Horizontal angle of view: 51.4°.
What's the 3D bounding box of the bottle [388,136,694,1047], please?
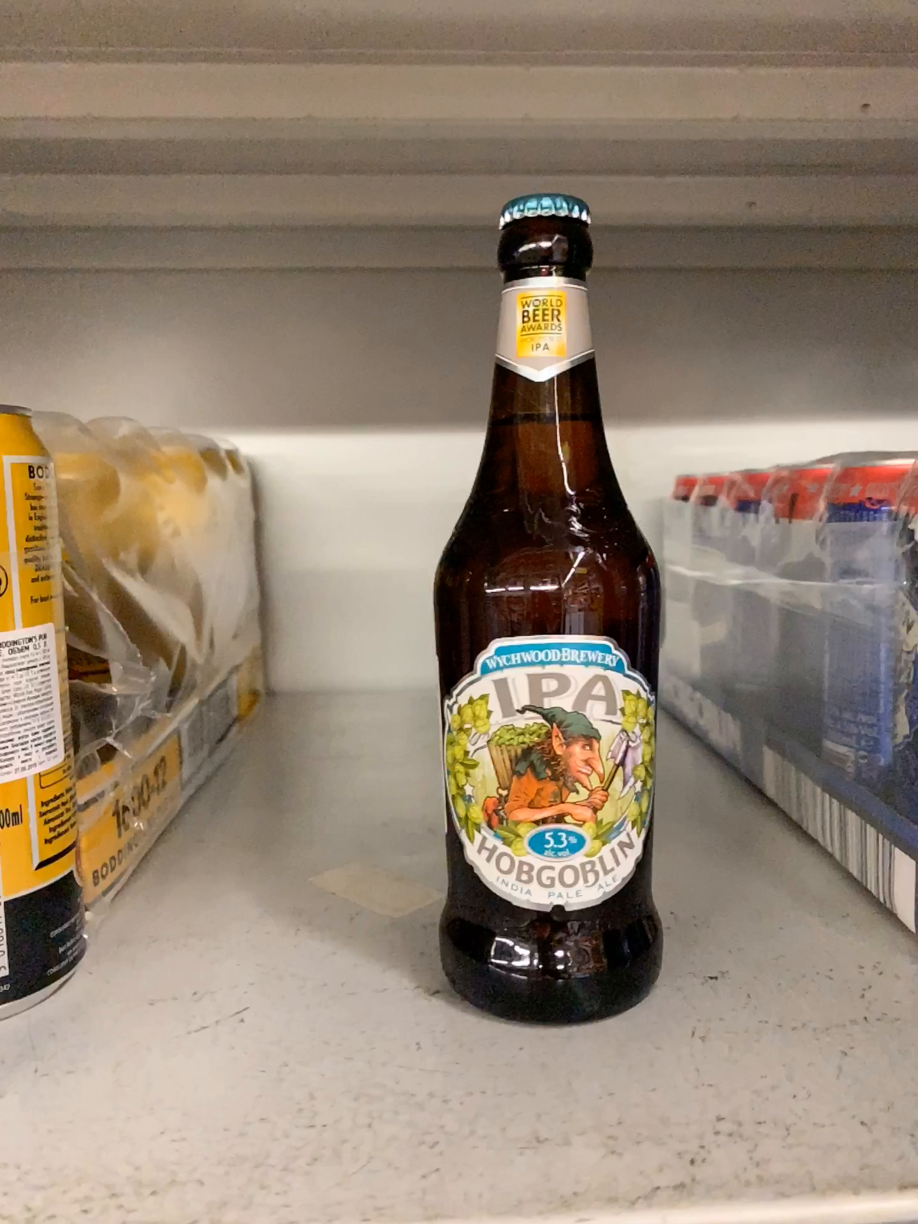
[{"bbox_3d":[0.027,-0.004,0.303,0.080,0.250,0.080,-1,6,0],"label":"bottle"}]
